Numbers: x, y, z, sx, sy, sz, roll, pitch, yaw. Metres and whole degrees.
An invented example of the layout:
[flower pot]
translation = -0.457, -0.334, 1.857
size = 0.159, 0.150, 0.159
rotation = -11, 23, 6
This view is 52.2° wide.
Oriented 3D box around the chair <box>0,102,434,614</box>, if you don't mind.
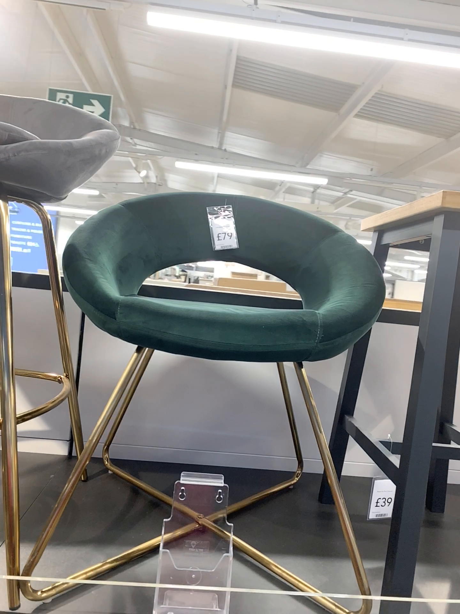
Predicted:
[chair]
translation = -0.041, 0.091, 1.023
size = 0.629, 0.776, 0.554
rotation = 6, 2, -5
